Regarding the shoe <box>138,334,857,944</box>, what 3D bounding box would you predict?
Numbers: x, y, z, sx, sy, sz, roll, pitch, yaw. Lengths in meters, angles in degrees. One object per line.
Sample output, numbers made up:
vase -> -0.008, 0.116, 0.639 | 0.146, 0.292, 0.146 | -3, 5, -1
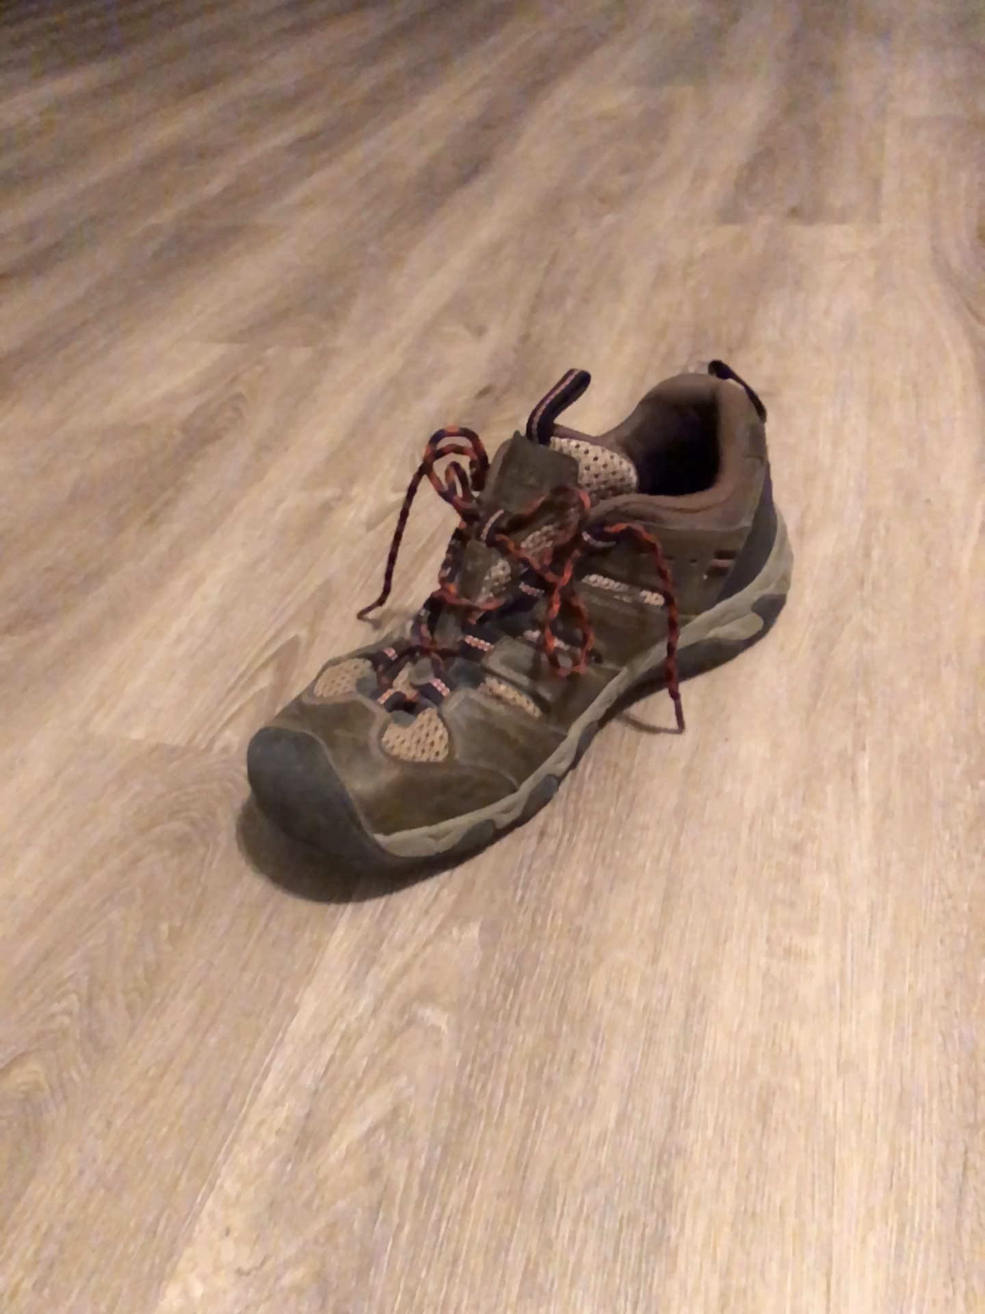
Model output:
shoe -> 0.017, -0.027, 0.446 | 0.270, 0.099, 0.110 | -32, 45, -29
